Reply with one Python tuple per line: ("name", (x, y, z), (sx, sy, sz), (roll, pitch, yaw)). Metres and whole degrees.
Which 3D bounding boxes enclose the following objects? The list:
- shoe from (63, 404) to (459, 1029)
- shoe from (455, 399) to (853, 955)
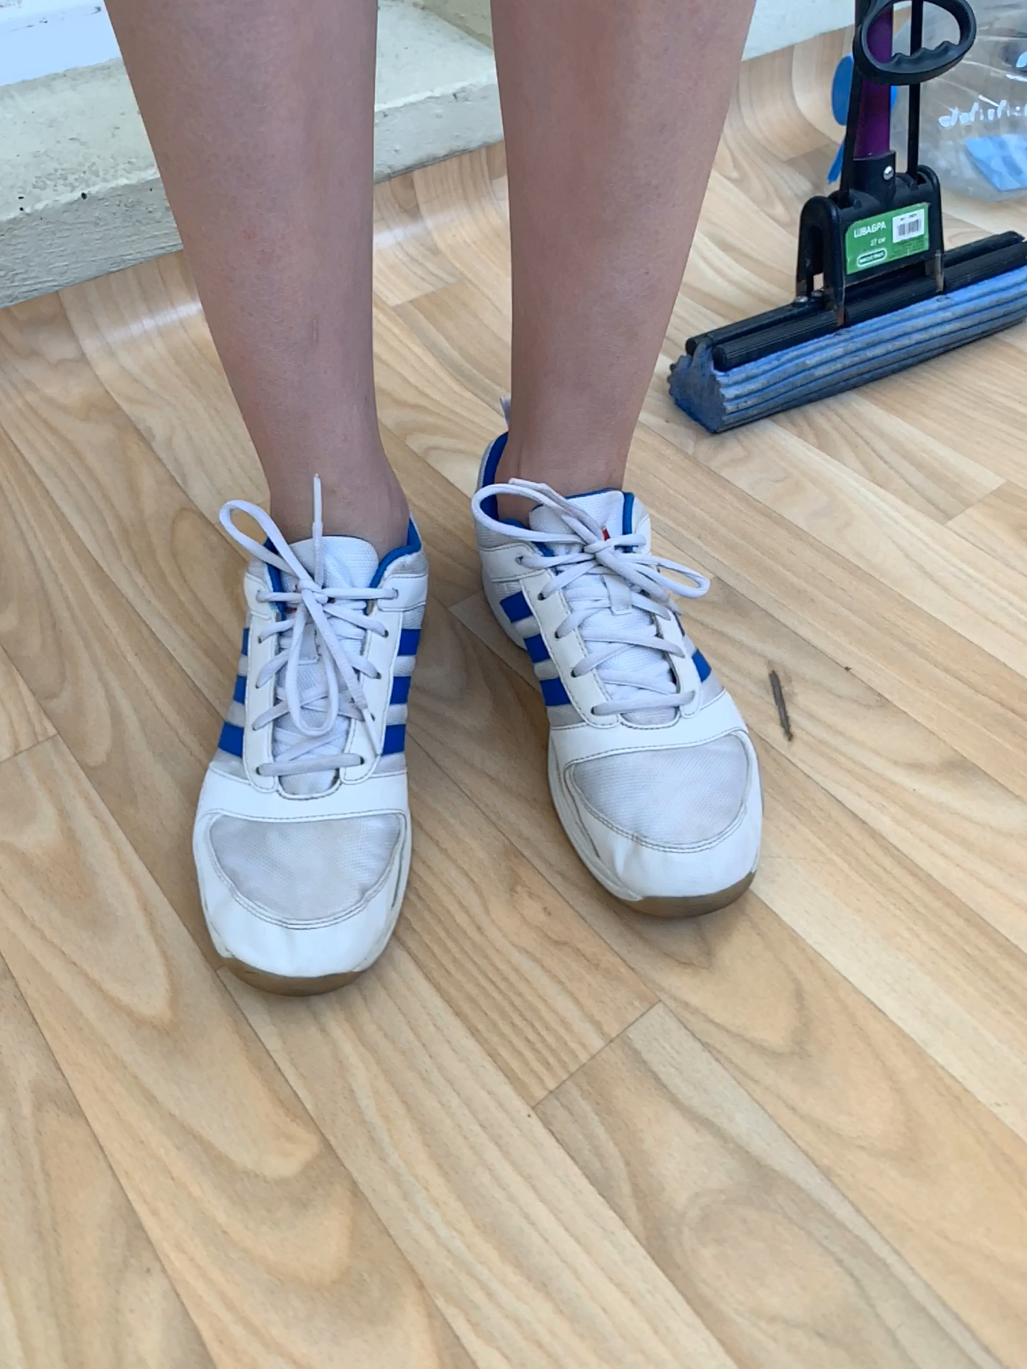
("shoe", (-0.088, 0.000, 0.472), (0.100, 0.120, 0.261), (3, 47, 2))
("shoe", (0.047, -0.020, 0.499), (0.100, 0.090, 0.261), (-9, 48, -9))
